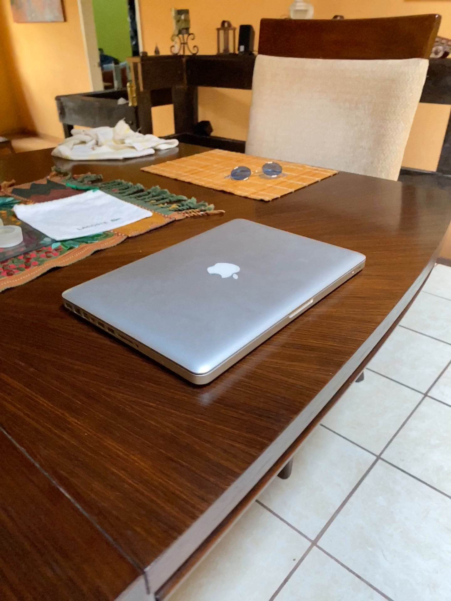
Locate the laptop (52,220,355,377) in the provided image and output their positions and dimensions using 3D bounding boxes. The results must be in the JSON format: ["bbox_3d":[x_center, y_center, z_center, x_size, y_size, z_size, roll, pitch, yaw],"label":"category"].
[{"bbox_3d":[-0.015,-0.032,0.594,0.232,0.002,0.325,23,37,34],"label":"laptop"}]
